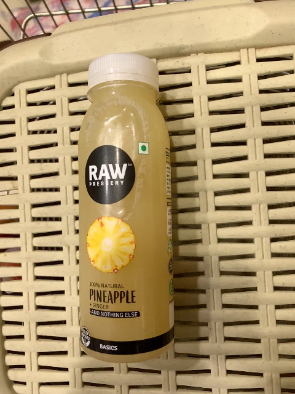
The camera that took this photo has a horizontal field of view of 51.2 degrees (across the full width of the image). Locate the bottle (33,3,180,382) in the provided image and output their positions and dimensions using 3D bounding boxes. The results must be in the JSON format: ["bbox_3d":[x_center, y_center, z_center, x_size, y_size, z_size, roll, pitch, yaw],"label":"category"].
[{"bbox_3d":[-0.016,-0.003,0.159,0.060,0.050,0.160,-2,85,9],"label":"bottle"}]
